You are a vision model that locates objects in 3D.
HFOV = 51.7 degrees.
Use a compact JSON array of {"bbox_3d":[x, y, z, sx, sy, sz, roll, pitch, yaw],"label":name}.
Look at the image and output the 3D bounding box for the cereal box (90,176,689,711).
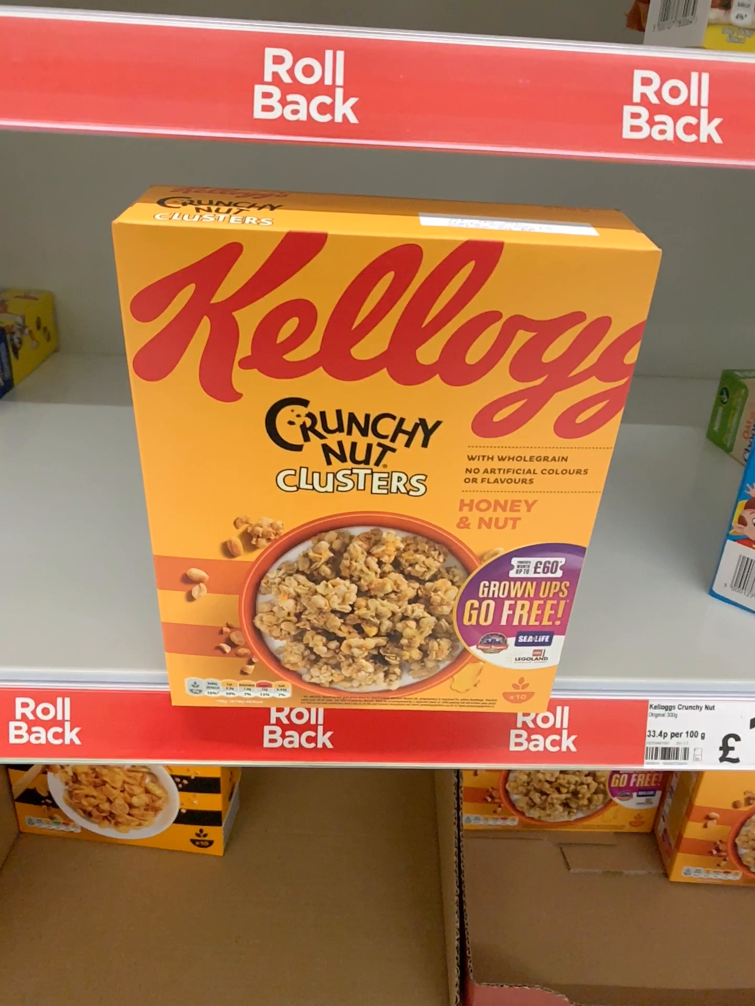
[{"bbox_3d":[-0.001,-0.012,0.345,0.200,0.228,0.061,2,33,-3],"label":"cereal box"}]
